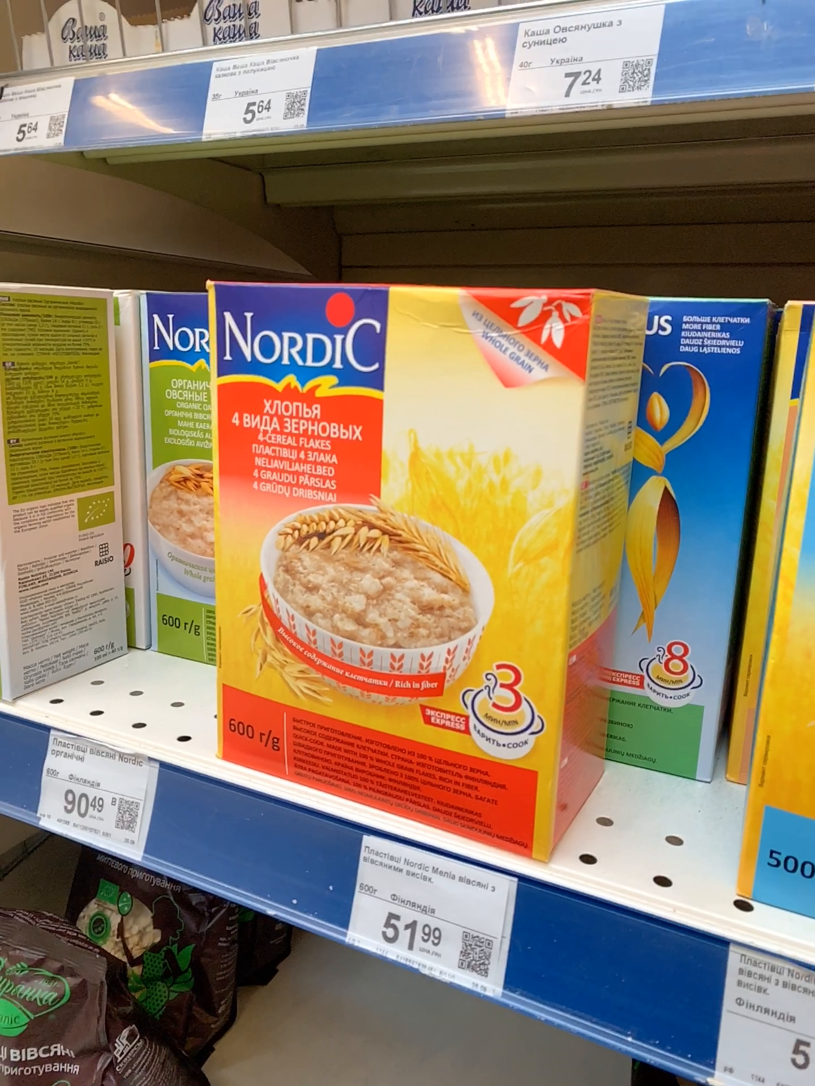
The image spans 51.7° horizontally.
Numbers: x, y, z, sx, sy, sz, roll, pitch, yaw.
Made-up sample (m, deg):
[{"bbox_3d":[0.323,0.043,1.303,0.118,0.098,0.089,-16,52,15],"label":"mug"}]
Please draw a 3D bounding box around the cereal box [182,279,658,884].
[{"bbox_3d":[0.002,0.000,0.322,0.150,0.189,0.080,9,15,27],"label":"cereal box"}]
